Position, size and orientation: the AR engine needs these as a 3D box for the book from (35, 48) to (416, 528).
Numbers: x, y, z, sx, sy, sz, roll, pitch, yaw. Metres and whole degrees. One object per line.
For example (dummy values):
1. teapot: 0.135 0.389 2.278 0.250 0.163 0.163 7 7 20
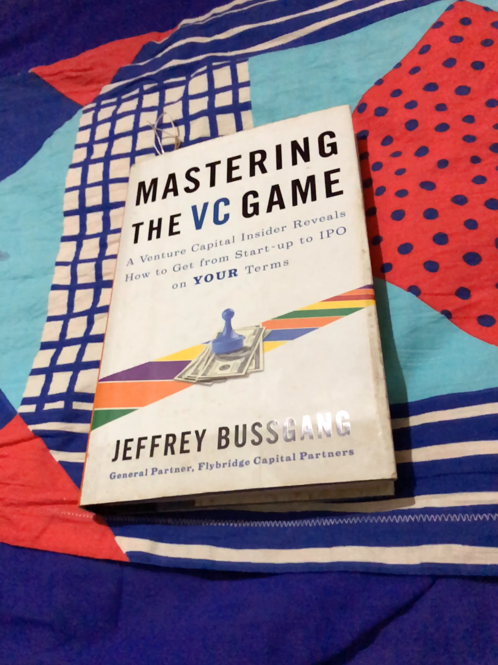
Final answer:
1. book: -0.012 -0.036 0.339 0.180 0.050 0.281 -10 59 18
